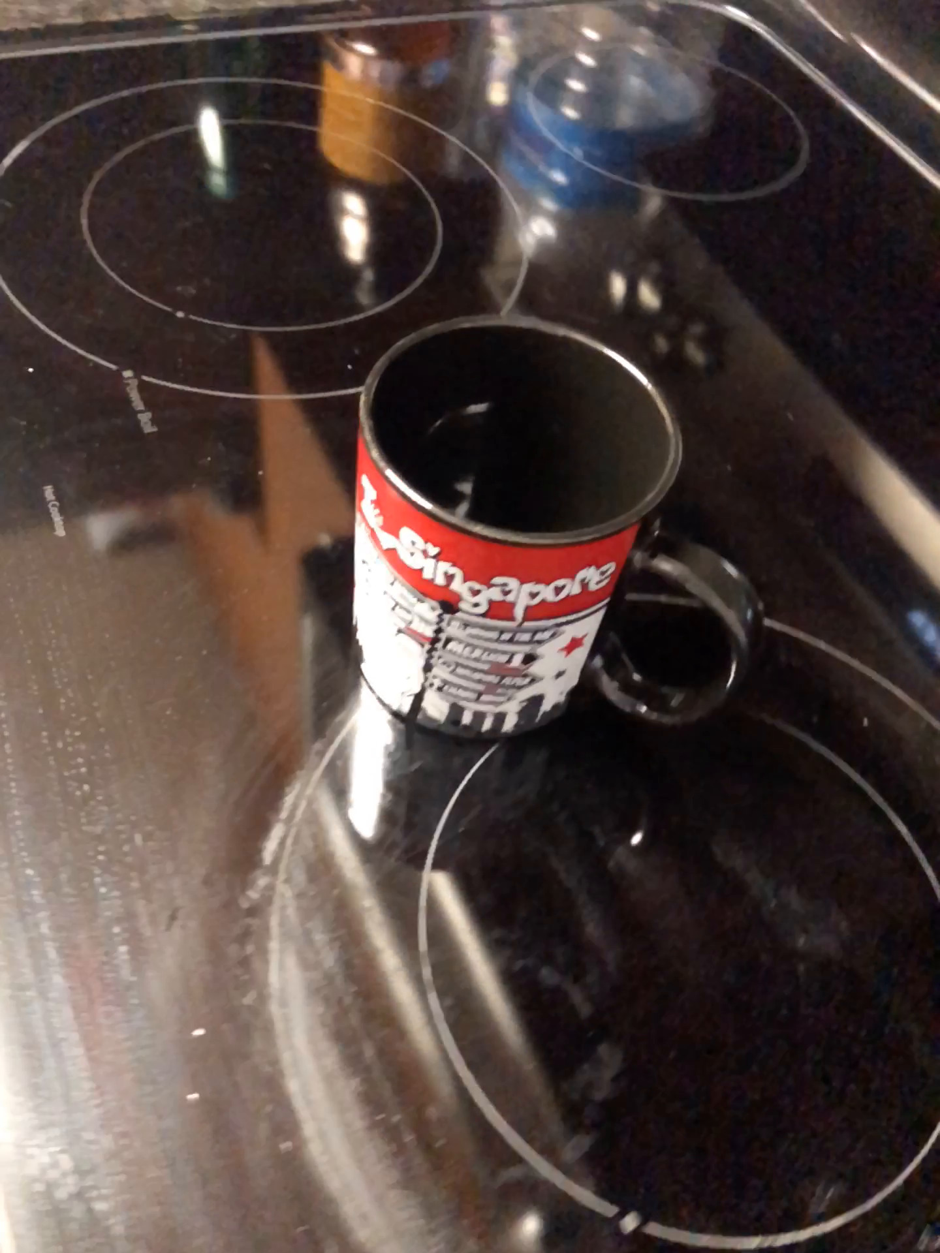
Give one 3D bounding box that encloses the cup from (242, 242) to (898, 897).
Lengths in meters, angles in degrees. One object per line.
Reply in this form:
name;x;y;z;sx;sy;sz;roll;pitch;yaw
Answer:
cup;0.019;-0.018;0.285;0.130;0.090;0.090;36;57;17
